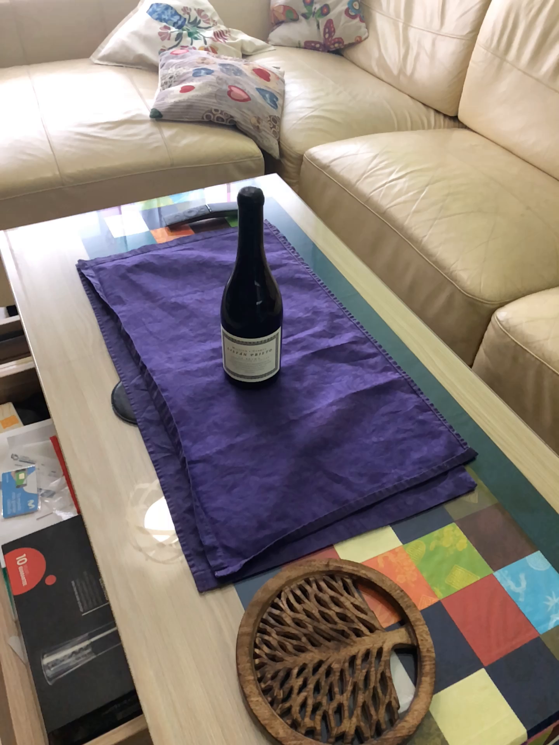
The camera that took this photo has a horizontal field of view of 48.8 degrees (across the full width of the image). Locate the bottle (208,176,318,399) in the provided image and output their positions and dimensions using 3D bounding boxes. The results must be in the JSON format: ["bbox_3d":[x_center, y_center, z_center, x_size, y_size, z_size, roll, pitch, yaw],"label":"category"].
[{"bbox_3d":[-0.020,-0.098,0.774,0.110,0.259,0.100,1,44,-1],"label":"bottle"}]
